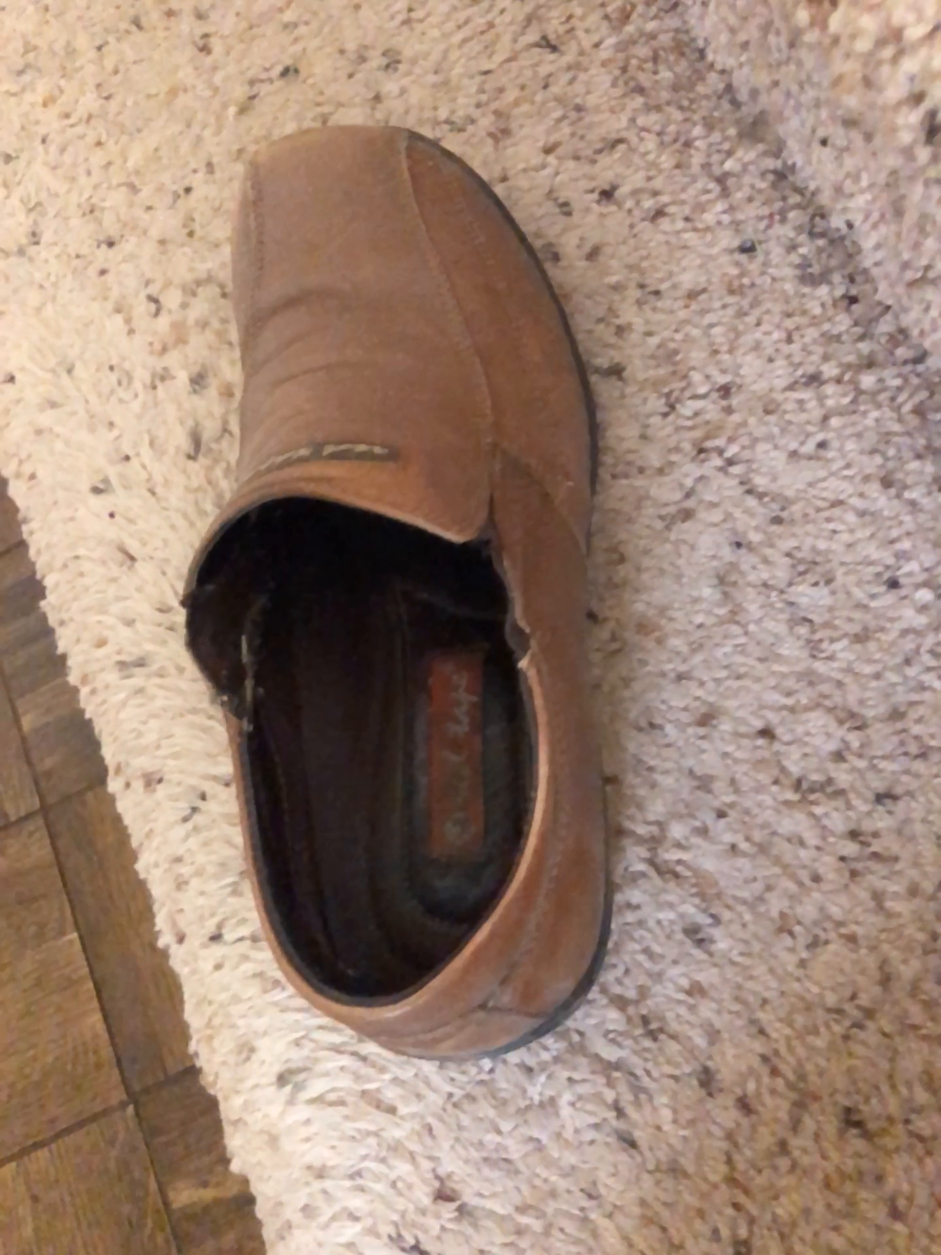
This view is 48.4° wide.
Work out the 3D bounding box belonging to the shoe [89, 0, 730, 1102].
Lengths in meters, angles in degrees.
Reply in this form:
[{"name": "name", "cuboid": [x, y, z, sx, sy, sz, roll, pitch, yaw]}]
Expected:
[{"name": "shoe", "cuboid": [-0.018, -0.041, 0.290, 0.110, 0.120, 0.290, -11, 72, 8]}]
